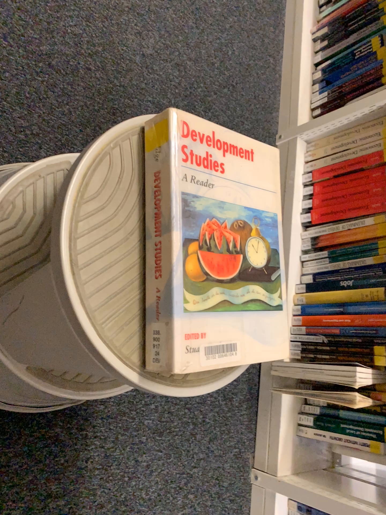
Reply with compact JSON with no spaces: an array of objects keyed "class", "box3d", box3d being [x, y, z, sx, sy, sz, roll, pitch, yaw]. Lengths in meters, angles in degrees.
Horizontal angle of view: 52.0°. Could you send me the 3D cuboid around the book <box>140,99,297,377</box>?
[{"class":"book","box3d":[0.029,-0.012,0.384,0.160,0.045,0.224,6,79,-41]}]
